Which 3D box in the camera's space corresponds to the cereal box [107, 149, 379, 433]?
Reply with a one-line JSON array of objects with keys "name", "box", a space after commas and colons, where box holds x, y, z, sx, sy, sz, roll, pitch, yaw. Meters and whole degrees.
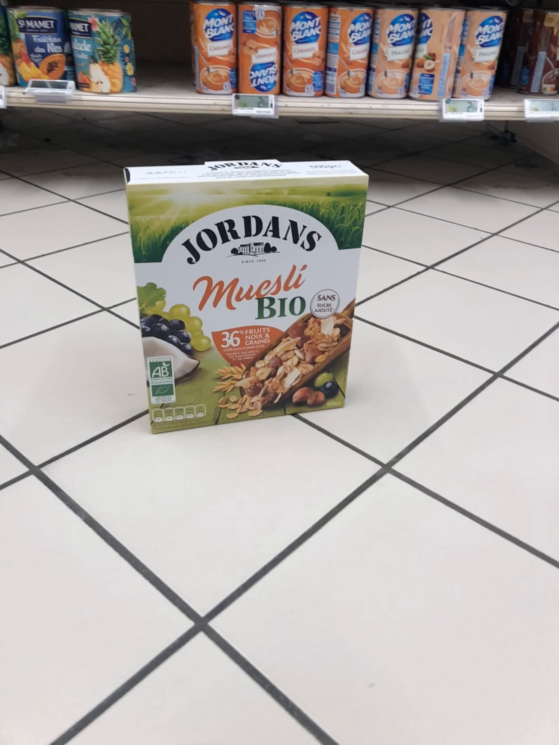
[{"name": "cereal box", "box": [-0.030, -0.065, 0.501, 0.190, 0.209, 0.060, -7, 32, -14]}]
